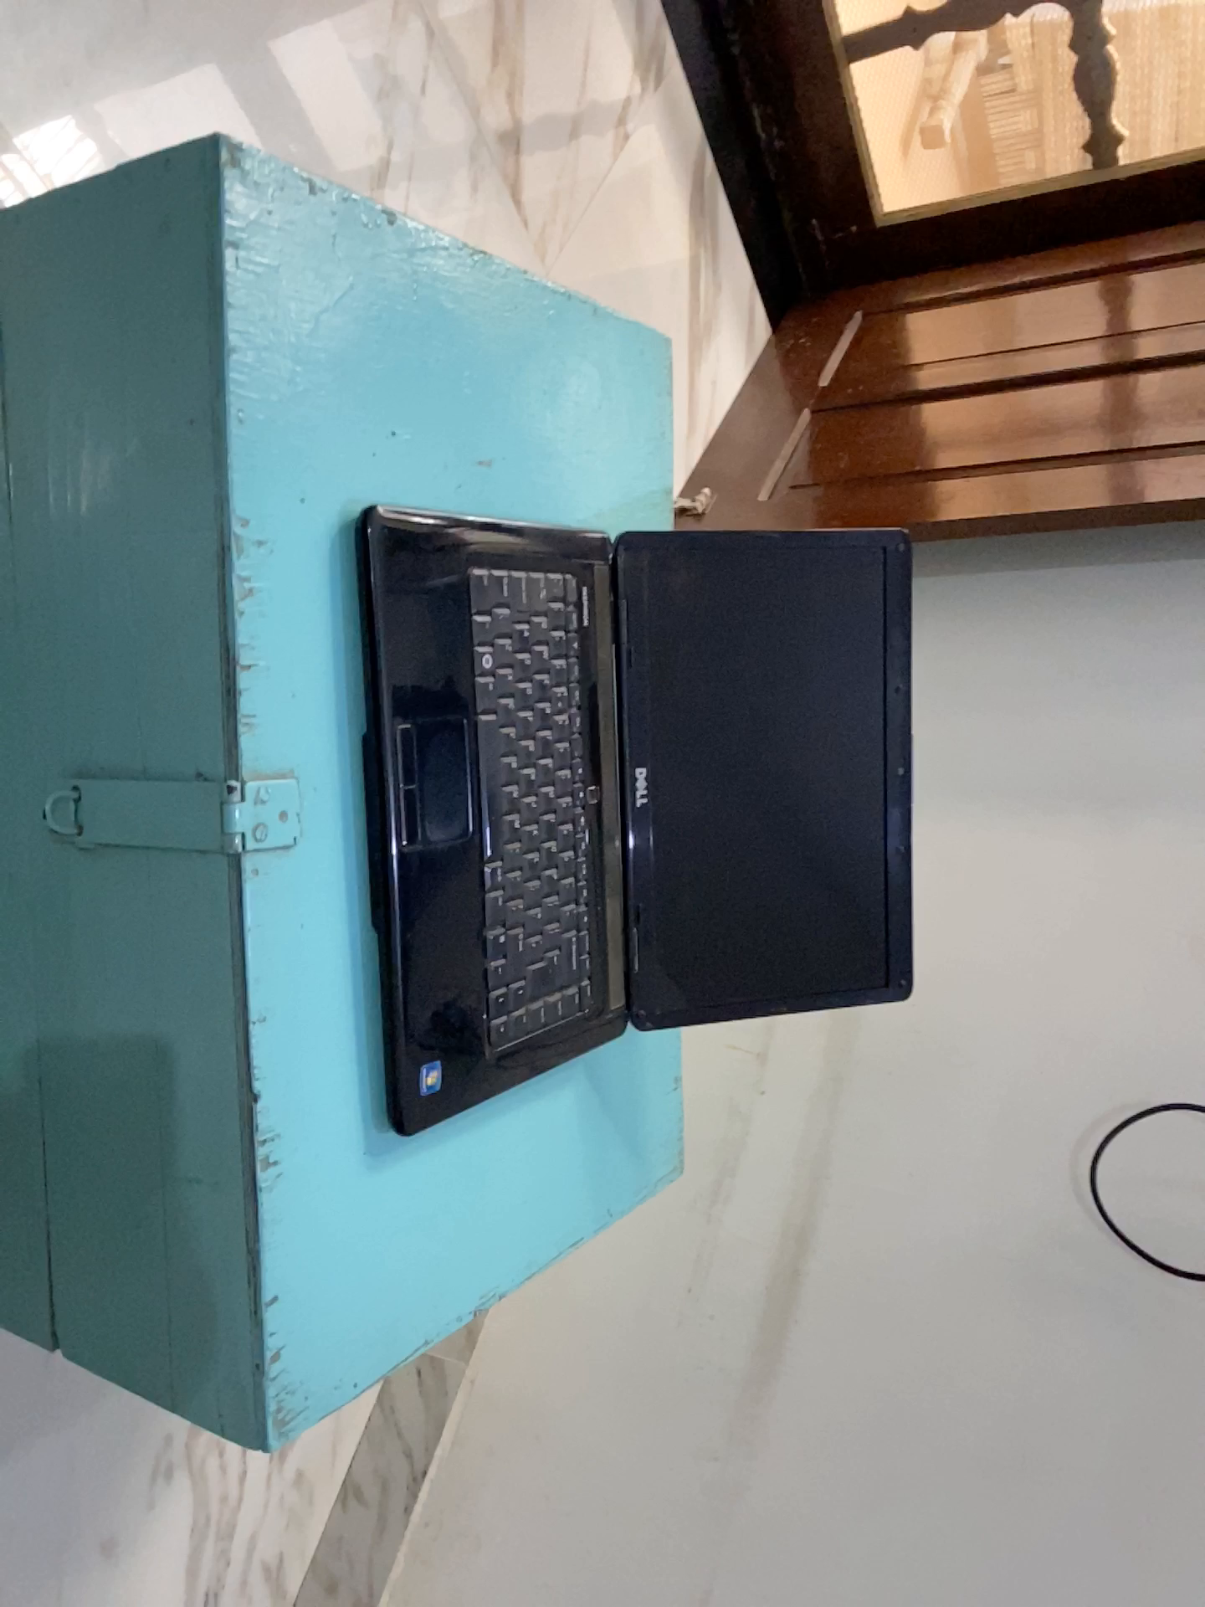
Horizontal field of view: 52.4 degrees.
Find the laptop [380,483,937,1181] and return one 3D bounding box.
[{"bbox_3d":[0.072,-0.006,0.836,0.415,0.162,0.363,-12,103,-54],"label":"laptop"}]
